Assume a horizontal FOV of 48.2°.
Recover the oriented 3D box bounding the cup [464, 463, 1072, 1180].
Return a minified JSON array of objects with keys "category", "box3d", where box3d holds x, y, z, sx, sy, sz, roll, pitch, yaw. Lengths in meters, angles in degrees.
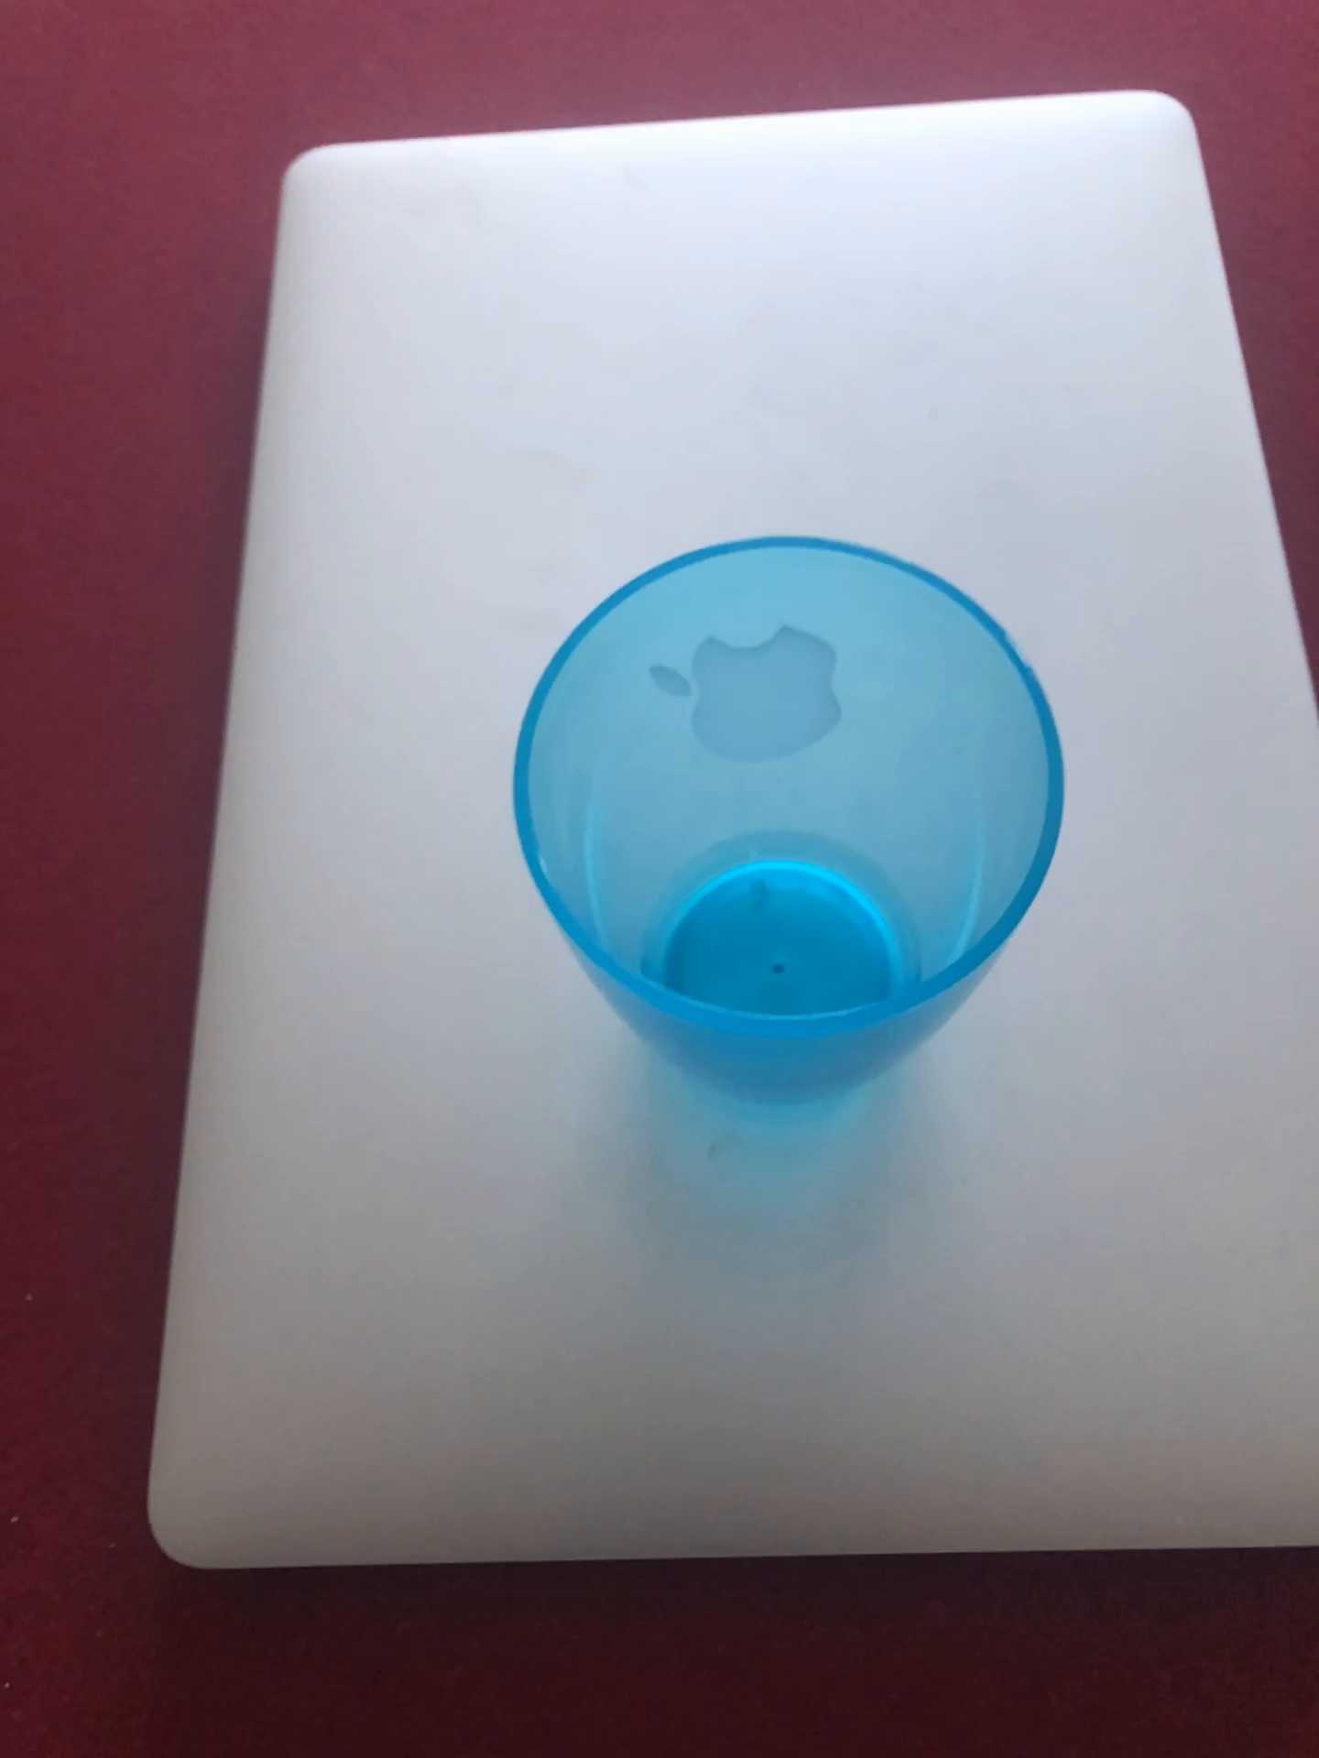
[{"category":"cup","box3d":[0.017,-0.002,0.258,0.080,0.100,0.090,-2,68,3]}]
